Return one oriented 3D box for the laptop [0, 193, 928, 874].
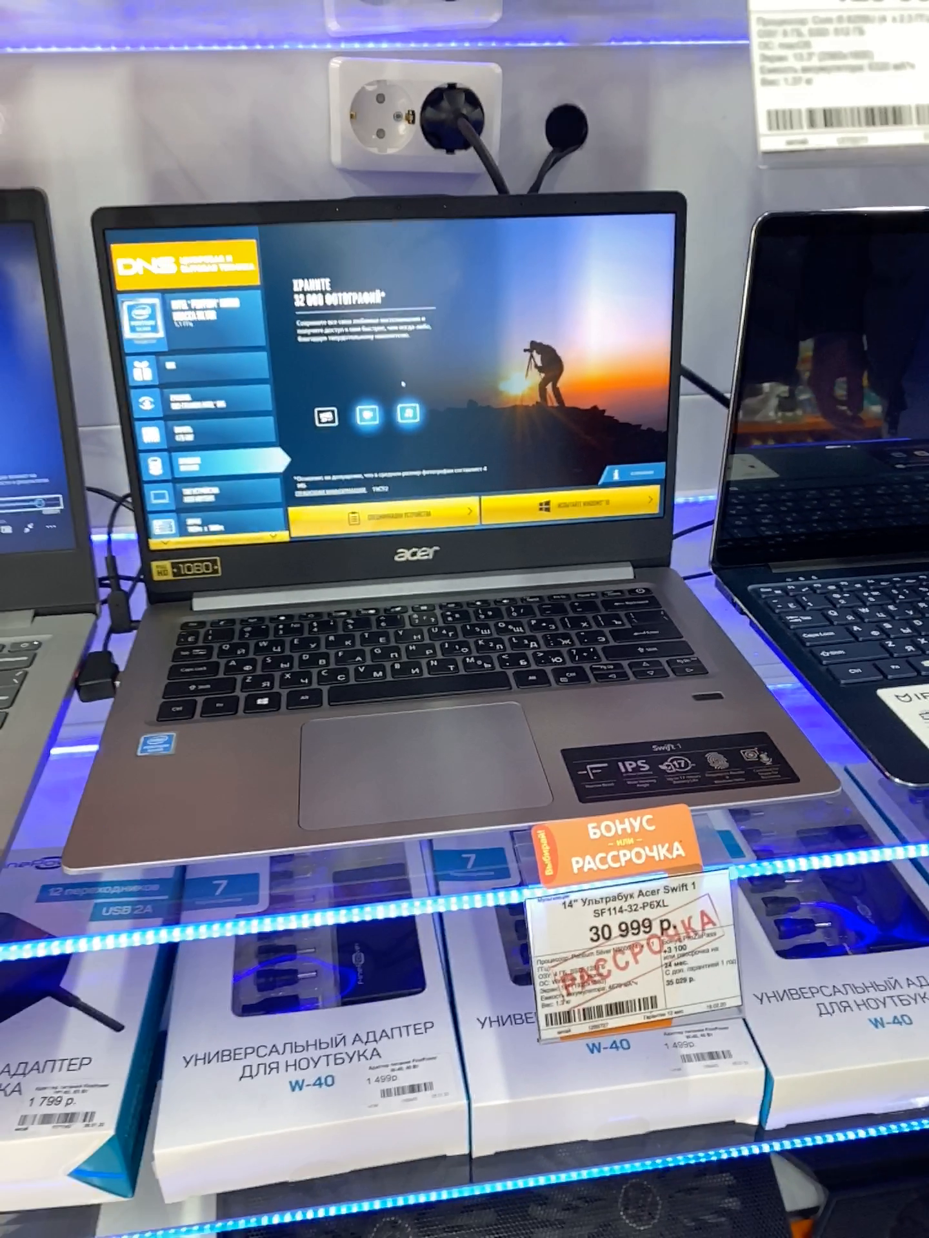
[{"bbox_3d":[-0.016,-0.069,0.444,0.318,0.206,0.258,-5,29,-7],"label":"laptop"}]
